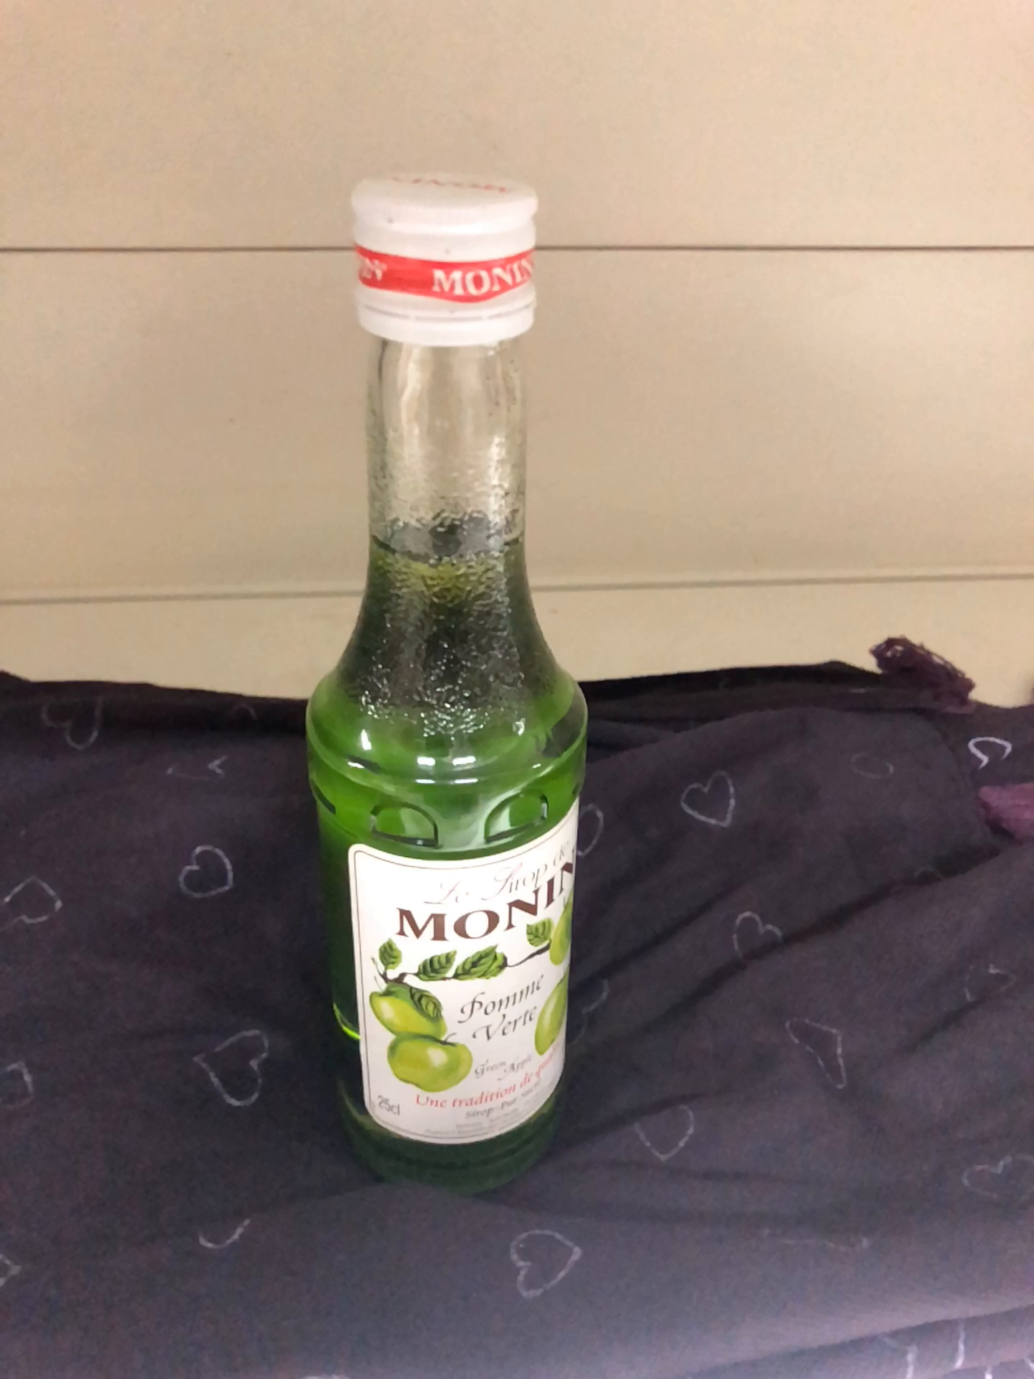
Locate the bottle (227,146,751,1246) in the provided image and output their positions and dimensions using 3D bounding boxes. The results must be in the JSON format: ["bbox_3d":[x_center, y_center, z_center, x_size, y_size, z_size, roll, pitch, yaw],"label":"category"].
[{"bbox_3d":[-0.009,0.009,0.222,0.060,0.199,0.060,1,30,0],"label":"bottle"}]
